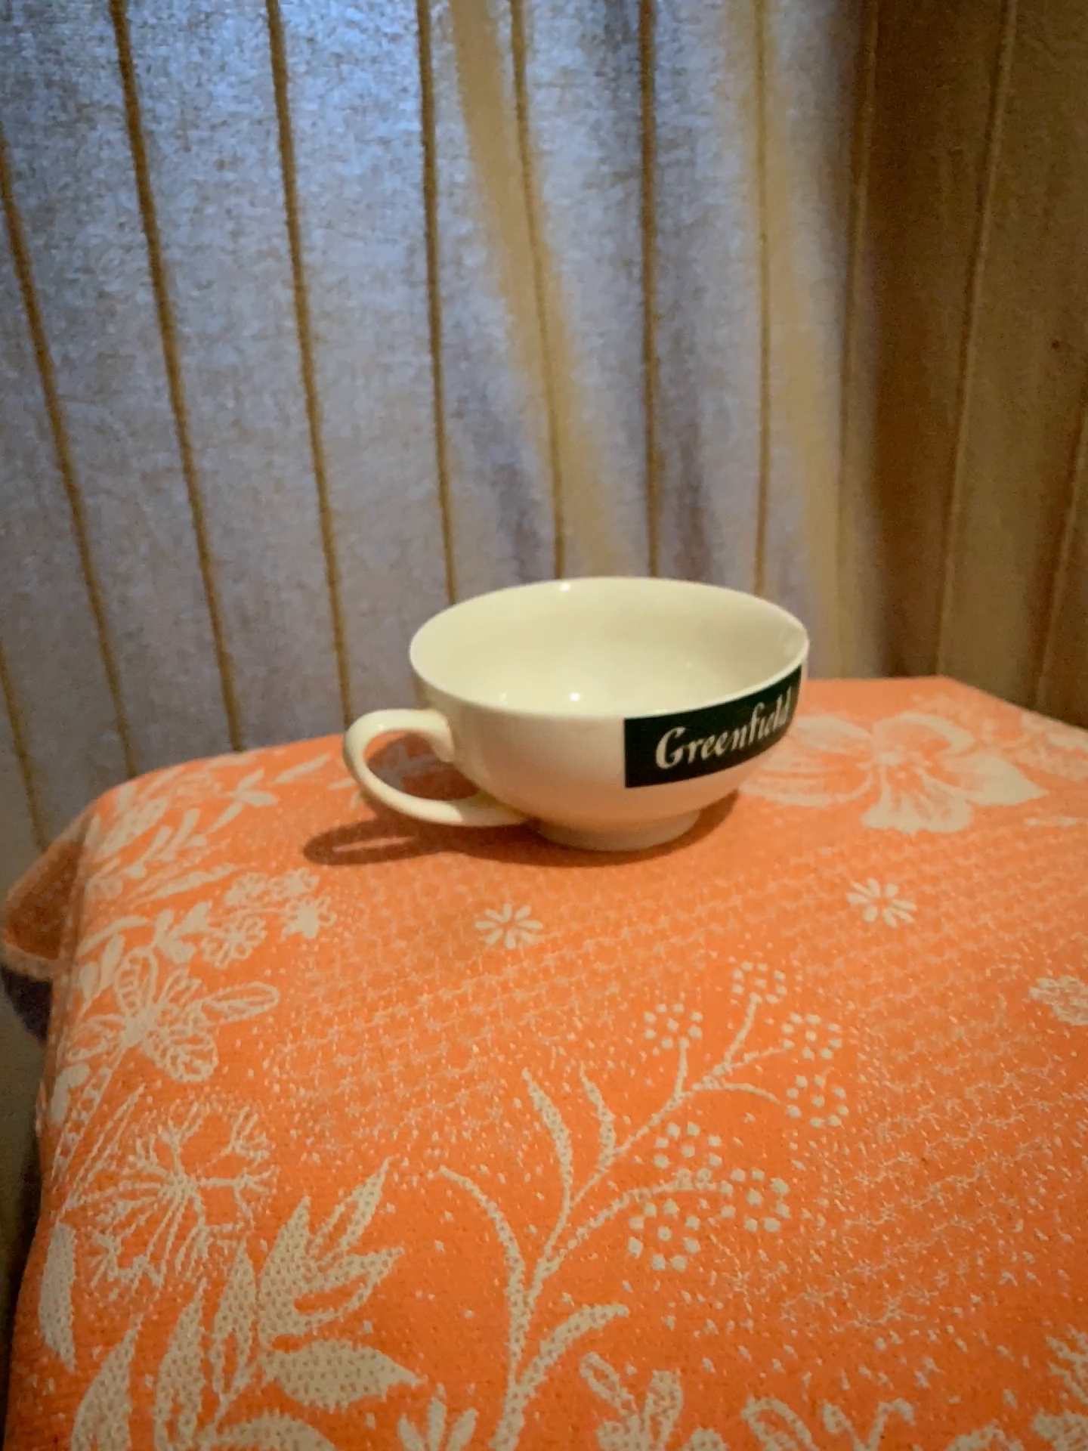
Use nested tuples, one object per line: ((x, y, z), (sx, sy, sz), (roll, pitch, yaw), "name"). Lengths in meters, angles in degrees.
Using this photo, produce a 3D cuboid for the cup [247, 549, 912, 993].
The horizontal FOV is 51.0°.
((0.006, -0.001, 0.312), (0.137, 0.056, 0.114), (-12, 26, -29), "cup")
